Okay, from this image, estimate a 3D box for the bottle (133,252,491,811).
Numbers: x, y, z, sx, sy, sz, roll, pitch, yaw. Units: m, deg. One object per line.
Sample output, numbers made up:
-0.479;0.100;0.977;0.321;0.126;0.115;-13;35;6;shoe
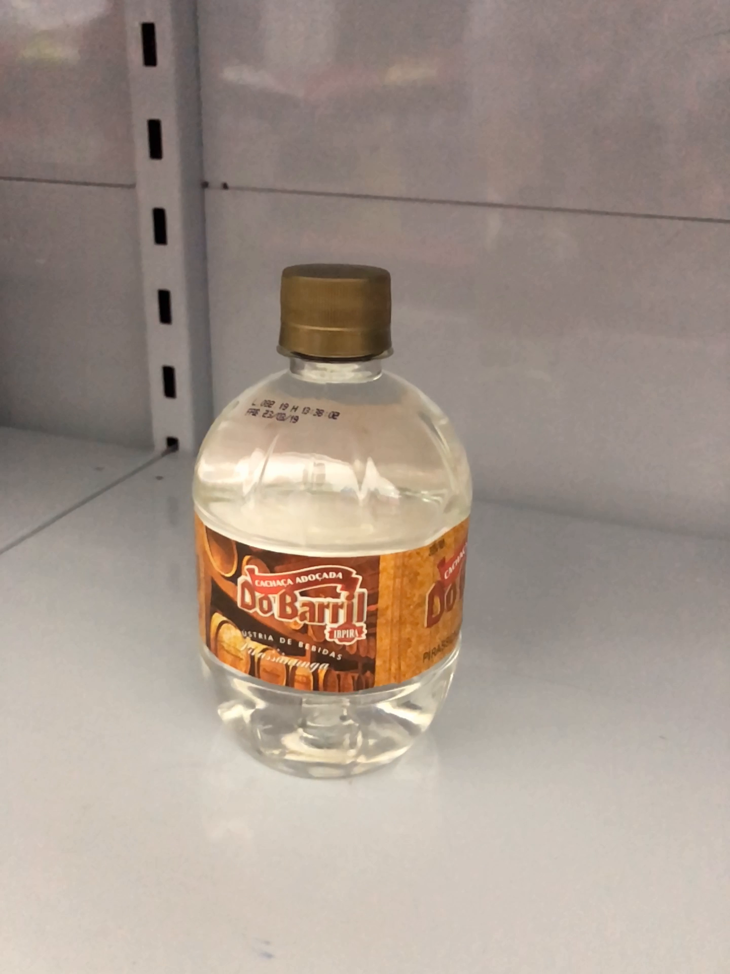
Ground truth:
-0.010;0.008;0.246;0.080;0.139;0.081;2;22;-1;bottle
